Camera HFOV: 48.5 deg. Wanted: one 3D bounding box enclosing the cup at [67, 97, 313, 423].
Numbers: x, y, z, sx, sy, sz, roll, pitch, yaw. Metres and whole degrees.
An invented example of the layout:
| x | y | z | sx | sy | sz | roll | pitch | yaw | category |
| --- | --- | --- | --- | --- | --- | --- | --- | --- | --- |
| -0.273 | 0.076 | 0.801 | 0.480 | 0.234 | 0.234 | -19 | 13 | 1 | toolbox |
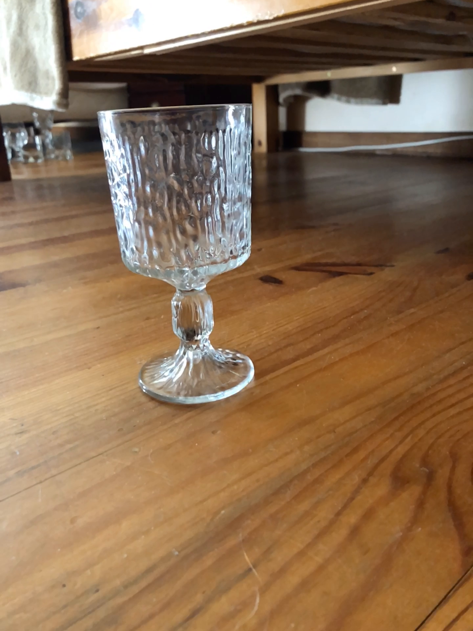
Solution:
| x | y | z | sx | sy | sz | roll | pitch | yaw | category |
| --- | --- | --- | --- | --- | --- | --- | --- | --- | --- |
| -0.020 | -0.035 | 0.264 | 0.081 | 0.134 | 0.081 | -2 | 20 | 1 | cup |
